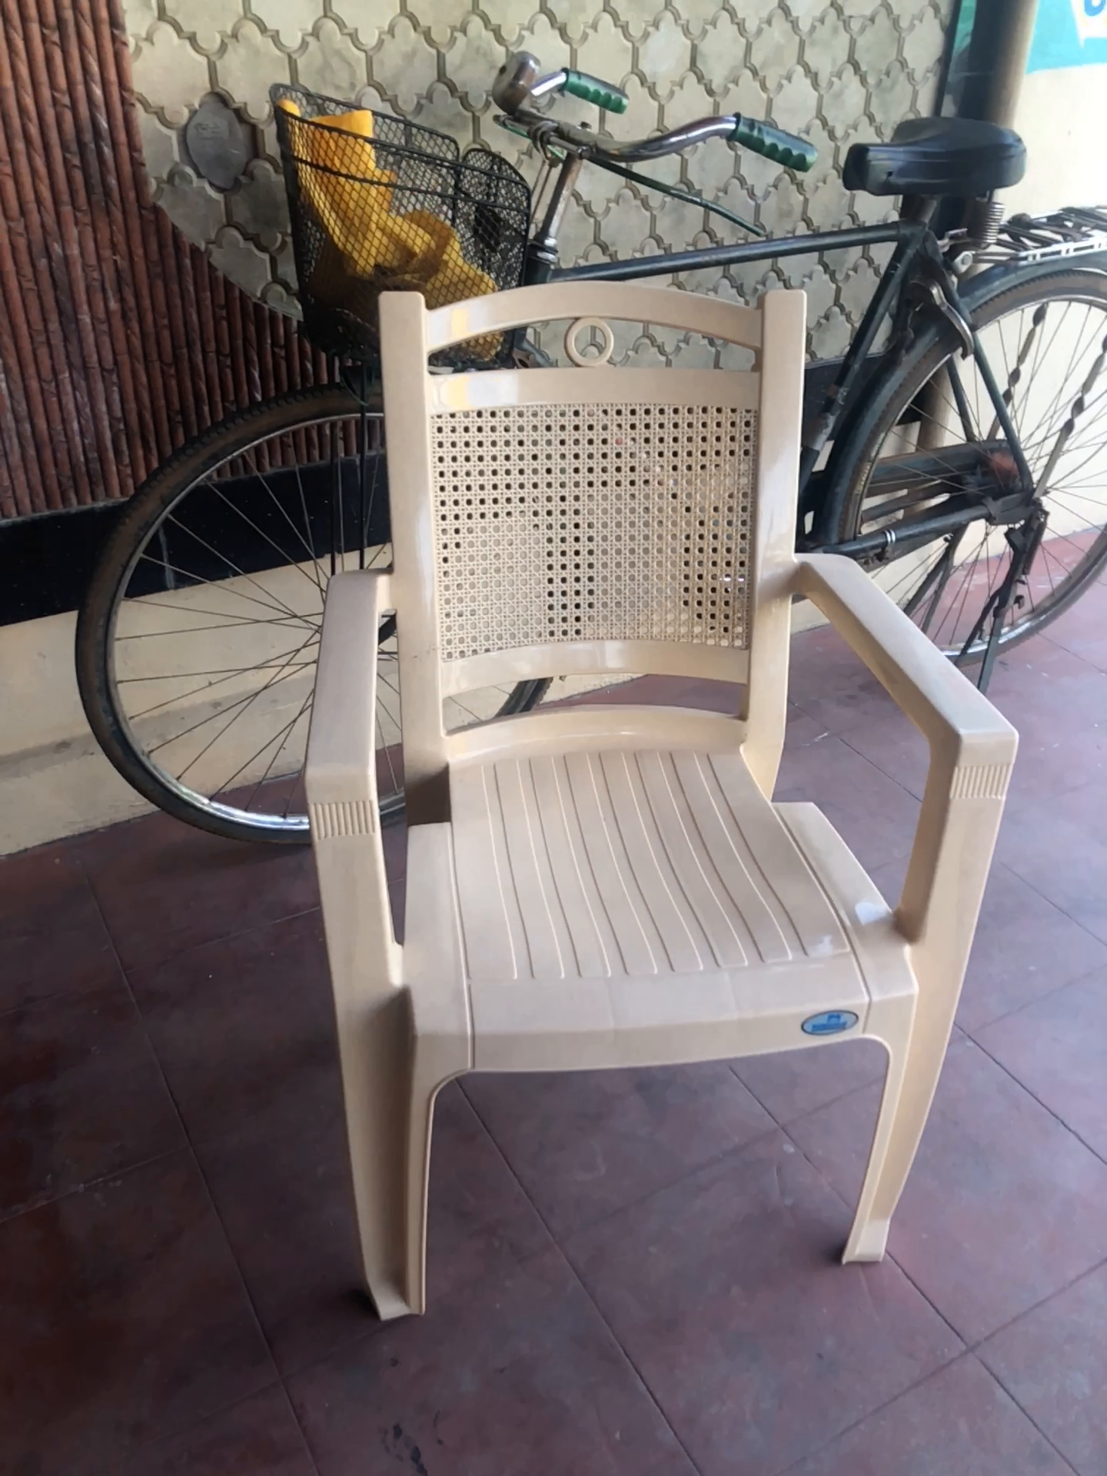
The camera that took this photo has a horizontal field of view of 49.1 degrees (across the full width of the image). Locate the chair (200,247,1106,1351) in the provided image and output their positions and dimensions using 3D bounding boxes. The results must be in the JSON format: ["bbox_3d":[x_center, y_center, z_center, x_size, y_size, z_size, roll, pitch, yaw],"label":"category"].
[{"bbox_3d":[0.065,0.046,1.129,0.590,0.826,0.553,-3,35,-7],"label":"chair"}]
